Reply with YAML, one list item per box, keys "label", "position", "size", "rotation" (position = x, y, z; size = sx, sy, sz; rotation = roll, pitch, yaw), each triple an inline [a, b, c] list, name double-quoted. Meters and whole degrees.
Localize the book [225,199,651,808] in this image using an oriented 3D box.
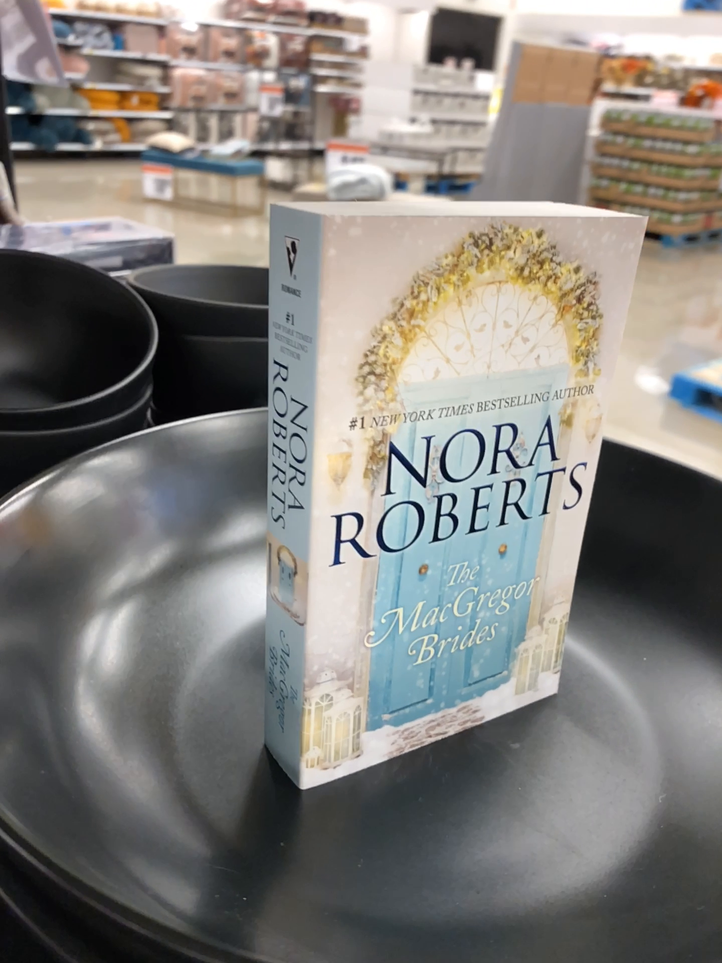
- label: "book"
  position: [0.019, 0.004, 0.250]
  size: [0.111, 0.168, 0.040]
  rotation: [-11, 28, -29]
